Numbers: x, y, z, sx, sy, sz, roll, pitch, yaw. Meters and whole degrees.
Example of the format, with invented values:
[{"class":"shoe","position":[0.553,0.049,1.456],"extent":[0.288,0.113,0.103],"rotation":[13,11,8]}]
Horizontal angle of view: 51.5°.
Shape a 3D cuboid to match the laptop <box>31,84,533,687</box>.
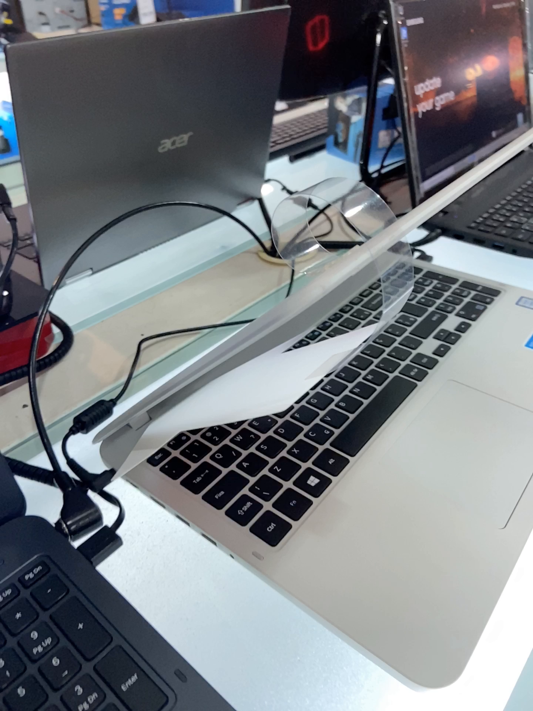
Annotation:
[{"class":"laptop","position":[0.094,-0.052,0.365],"extent":[0.232,0.162,0.368],"rotation":[23,42,32]}]
